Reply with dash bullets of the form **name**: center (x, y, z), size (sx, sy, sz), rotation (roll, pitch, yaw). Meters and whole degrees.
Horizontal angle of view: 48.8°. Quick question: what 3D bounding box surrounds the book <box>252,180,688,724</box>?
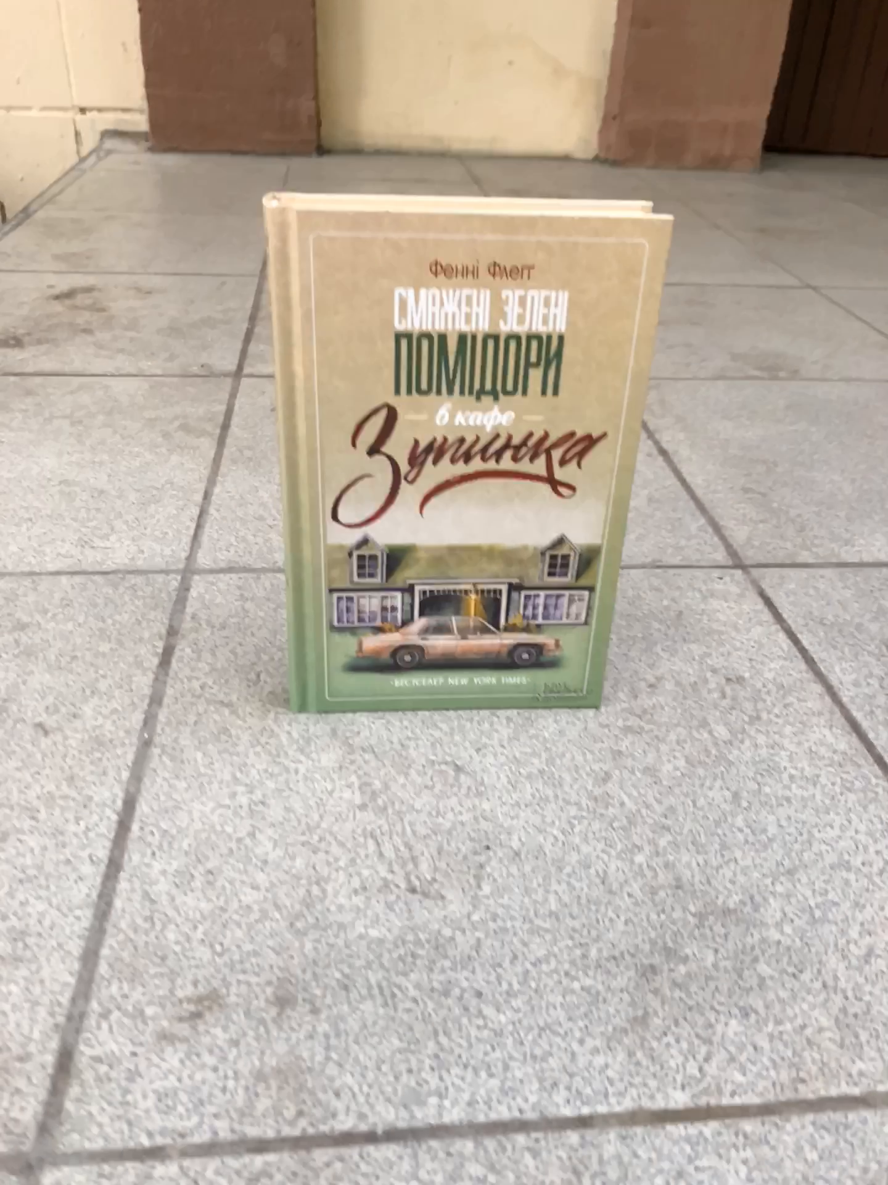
- **book**: center (0.004, -0.043, 0.378), size (0.140, 0.208, 0.030), rotation (0, 31, -5)
